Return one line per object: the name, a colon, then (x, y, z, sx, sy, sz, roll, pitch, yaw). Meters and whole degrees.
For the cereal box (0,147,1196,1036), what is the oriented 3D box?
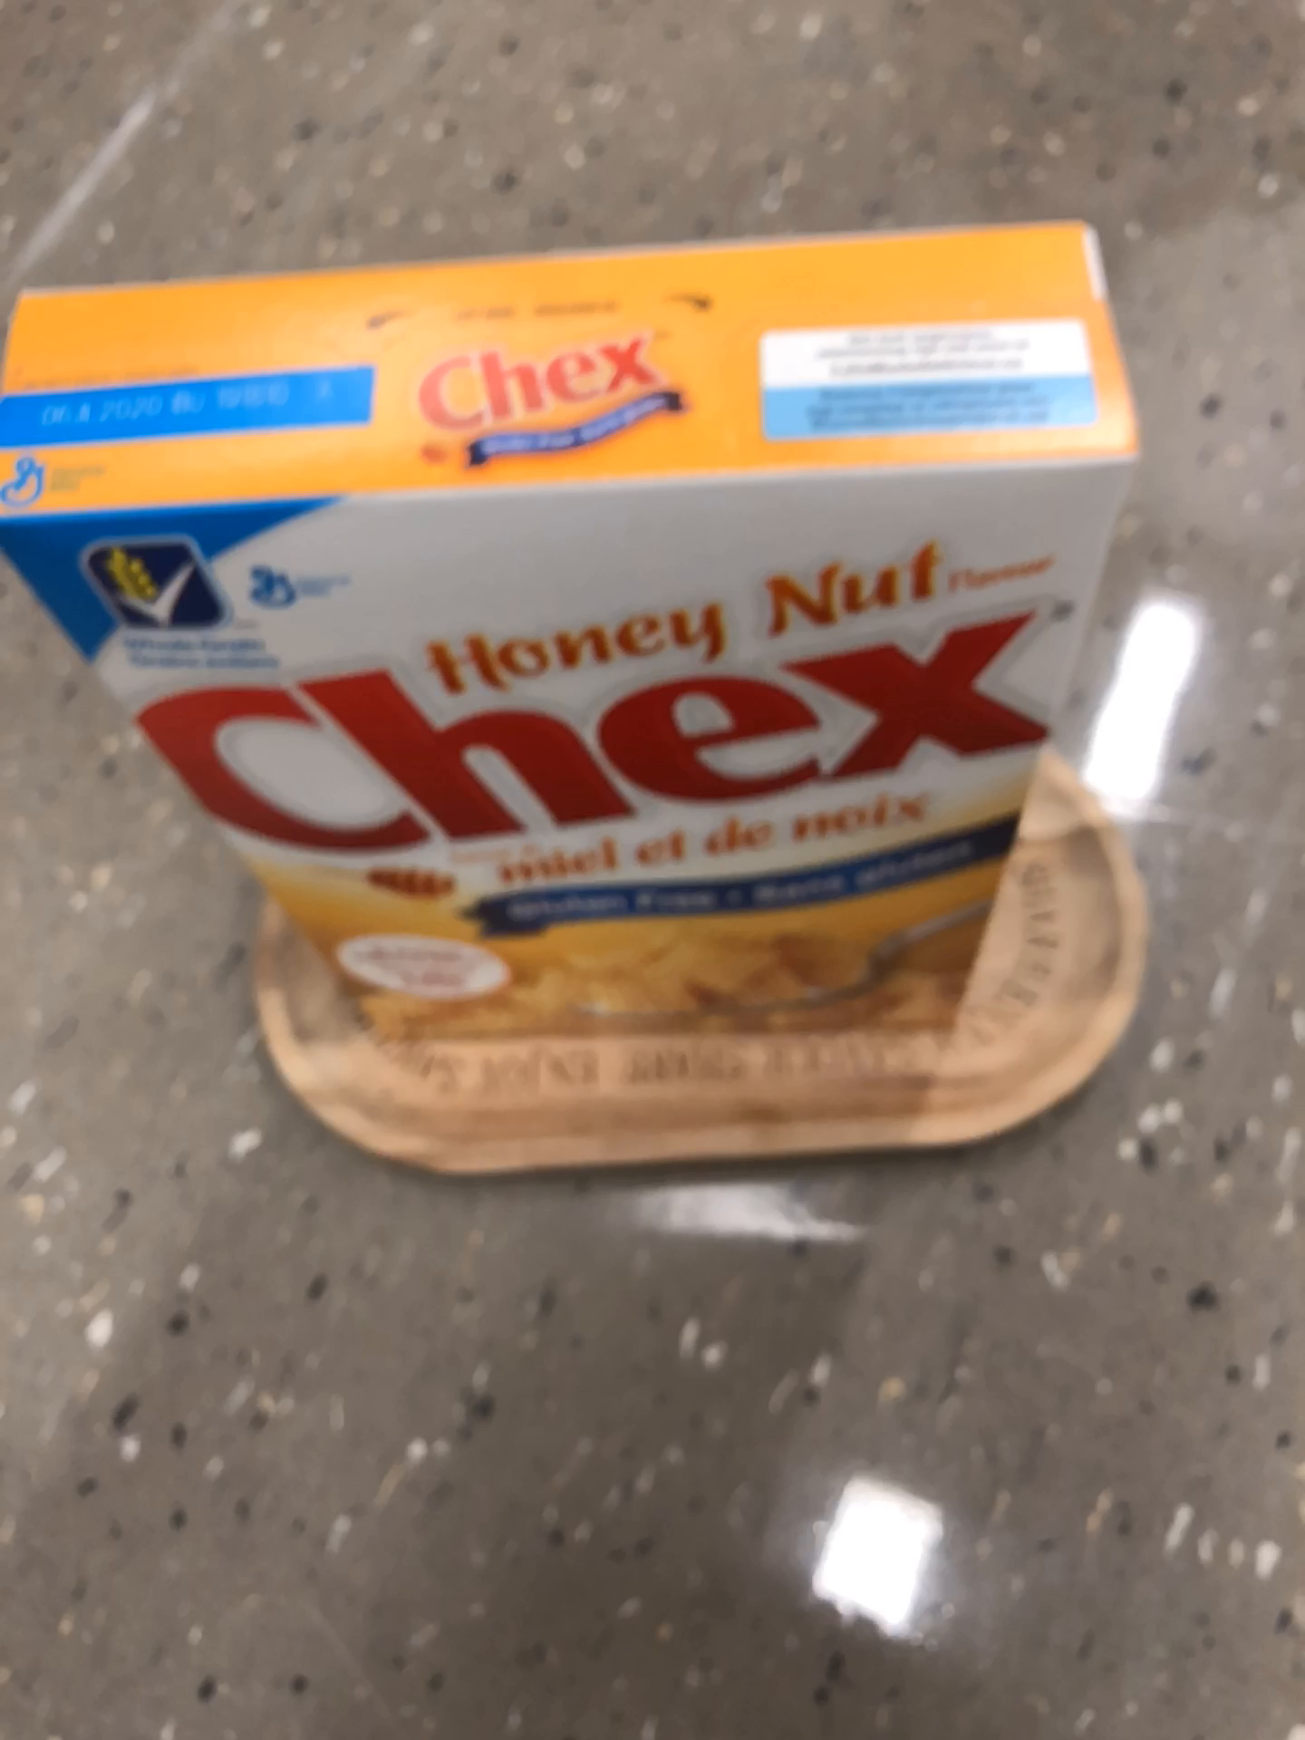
cereal box: (-0.007, -0.035, 0.381, 0.210, 0.280, 0.060, -2, 64, 5)
